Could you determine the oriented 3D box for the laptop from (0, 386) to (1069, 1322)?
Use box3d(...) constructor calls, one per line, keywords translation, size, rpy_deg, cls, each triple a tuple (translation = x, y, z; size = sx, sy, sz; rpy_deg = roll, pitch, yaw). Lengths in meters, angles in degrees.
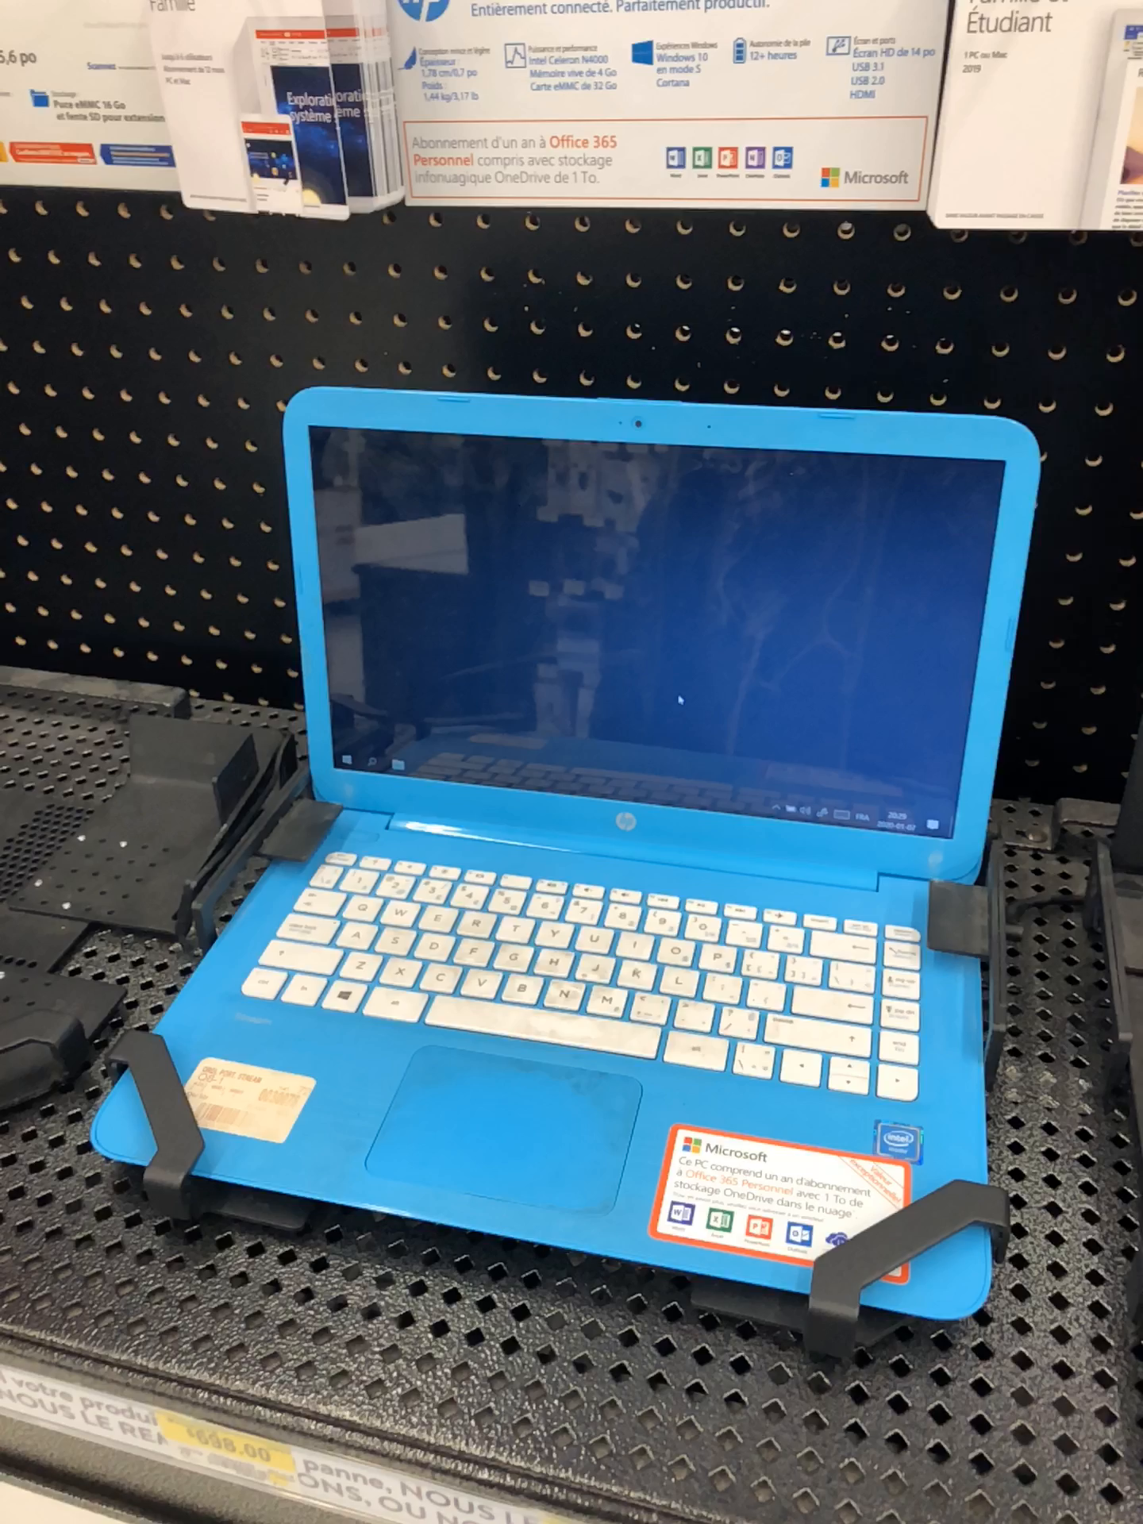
box3d(translation=(-0.001, 0.002, 0.496), size=(0.319, 0.197, 0.270), rpy_deg=(6, 36, 14), cls="laptop")
